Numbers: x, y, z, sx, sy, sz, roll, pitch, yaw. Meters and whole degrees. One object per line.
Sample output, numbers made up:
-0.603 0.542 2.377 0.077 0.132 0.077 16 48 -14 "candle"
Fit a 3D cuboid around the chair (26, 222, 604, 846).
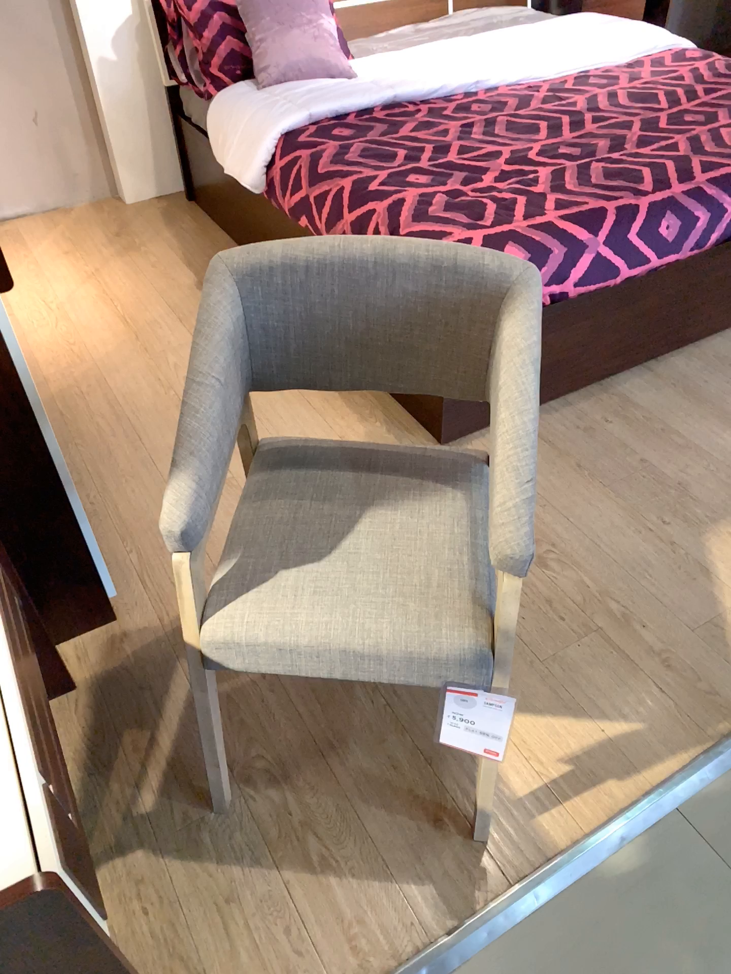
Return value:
-0.016 0.090 1.193 0.560 0.797 0.582 3 43 6 "chair"
